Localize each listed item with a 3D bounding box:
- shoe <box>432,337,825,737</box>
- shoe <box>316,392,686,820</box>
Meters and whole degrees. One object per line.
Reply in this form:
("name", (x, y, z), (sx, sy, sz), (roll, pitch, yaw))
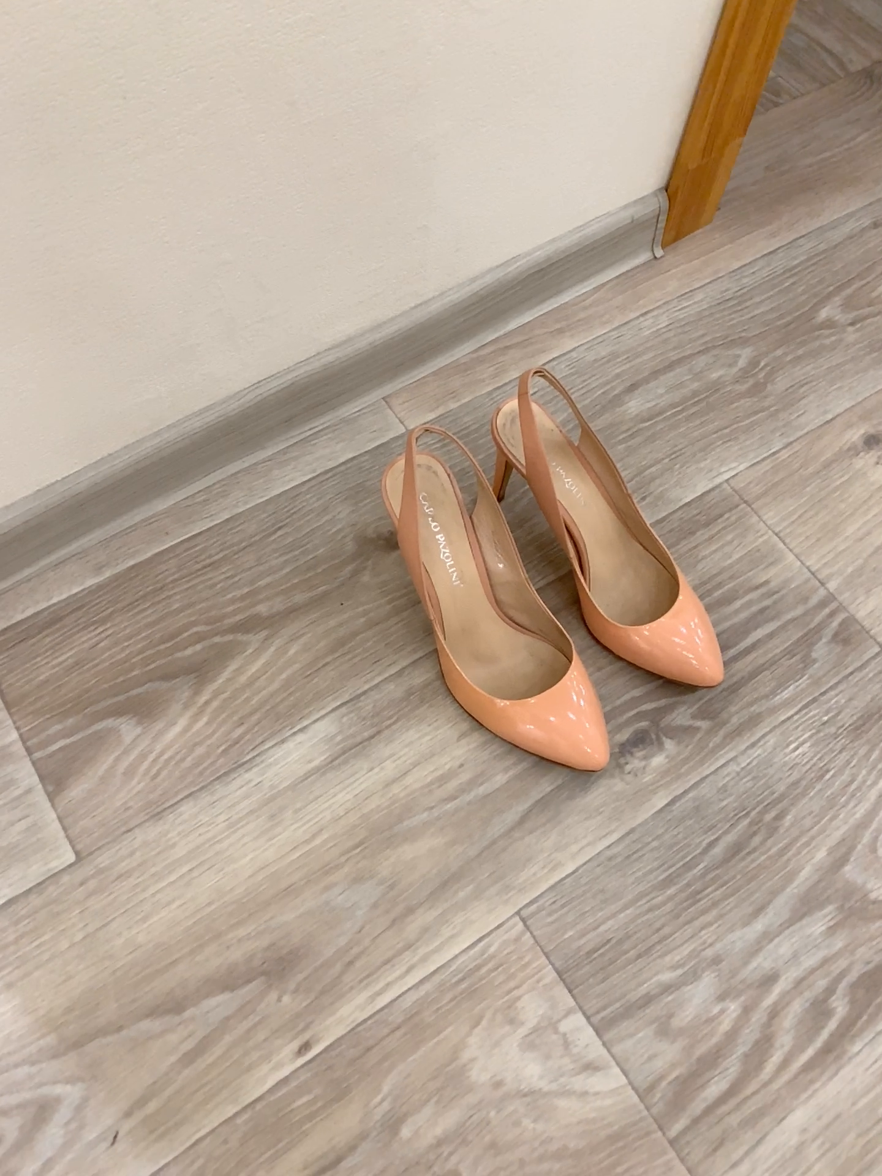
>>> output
("shoe", (0.110, -0.035, 0.607), (0.090, 0.120, 0.240), (-37, 70, -21))
("shoe", (0.026, 0.011, 0.583), (0.090, 0.120, 0.240), (-31, 68, -19))
